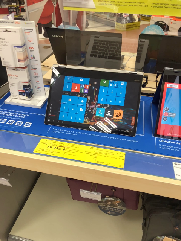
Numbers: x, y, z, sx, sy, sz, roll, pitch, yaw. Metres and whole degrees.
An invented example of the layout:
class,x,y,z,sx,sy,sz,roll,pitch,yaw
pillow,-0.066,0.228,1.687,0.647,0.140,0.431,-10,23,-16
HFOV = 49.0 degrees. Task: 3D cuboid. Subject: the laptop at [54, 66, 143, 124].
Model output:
class,x,y,z,sx,sy,sz,roll,pitch,yaw
laptop,0.037,-0.097,0.894,0.336,0.150,0.211,8,6,11
